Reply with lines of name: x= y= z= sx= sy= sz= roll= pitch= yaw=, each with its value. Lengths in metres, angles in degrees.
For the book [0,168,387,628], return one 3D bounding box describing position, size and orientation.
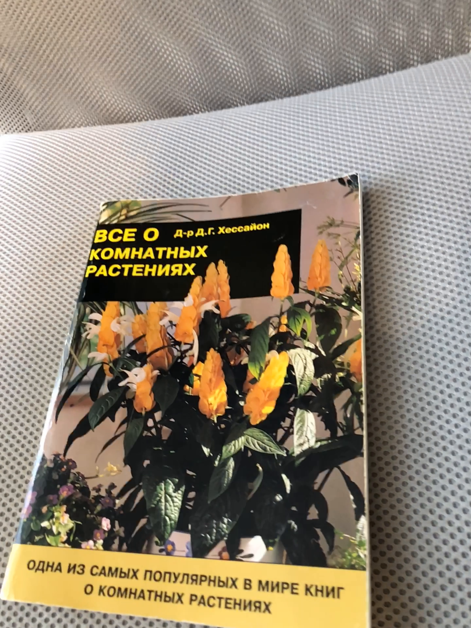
book: x=-0.017 y=0.030 z=0.270 sx=0.170 sy=0.030 sz=0.231 roll=-3 pitch=61 yaw=14
